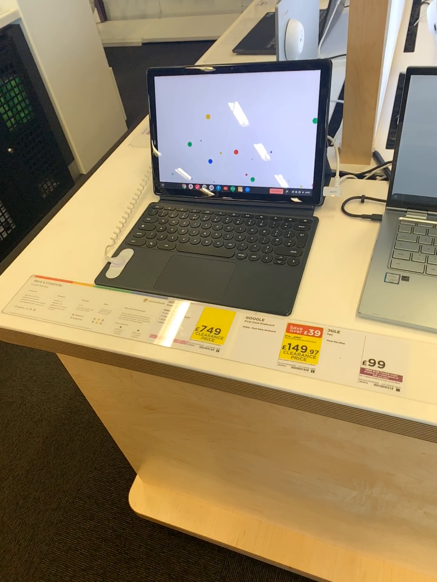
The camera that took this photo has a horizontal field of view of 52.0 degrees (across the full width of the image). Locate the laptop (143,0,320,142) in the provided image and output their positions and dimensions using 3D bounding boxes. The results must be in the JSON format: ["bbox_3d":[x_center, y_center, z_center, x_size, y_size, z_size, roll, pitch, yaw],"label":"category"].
[{"bbox_3d":[0.052,-0.493,0.903,0.233,0.222,0.321,9,50,19],"label":"laptop"}]

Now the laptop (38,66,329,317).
[{"bbox_3d":[-0.015,-0.157,0.630,0.285,0.187,0.295,8,48,18],"label":"laptop"}]
